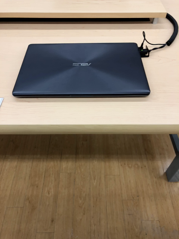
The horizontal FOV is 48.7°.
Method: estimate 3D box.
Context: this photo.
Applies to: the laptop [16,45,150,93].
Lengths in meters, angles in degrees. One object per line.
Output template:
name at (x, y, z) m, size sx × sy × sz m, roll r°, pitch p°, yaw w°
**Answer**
laptop at (-0.021, -0.158, 0.584) m, size 0.345 × 0.002 × 0.229 m, roll -1°, pitch 50°, yaw 0°
